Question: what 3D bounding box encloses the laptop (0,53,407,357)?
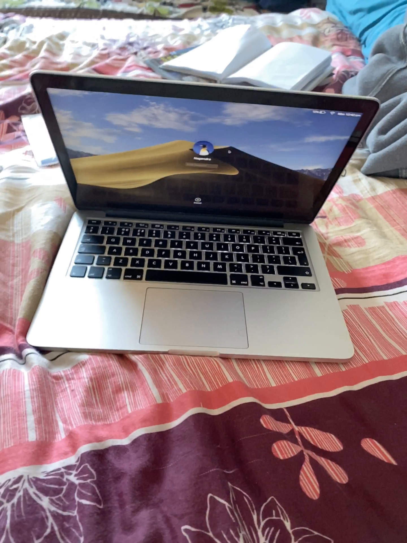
[{"bbox_3d":[-0.008,-0.064,0.399,0.303,0.191,0.203,3,44,-2],"label":"laptop"}]
